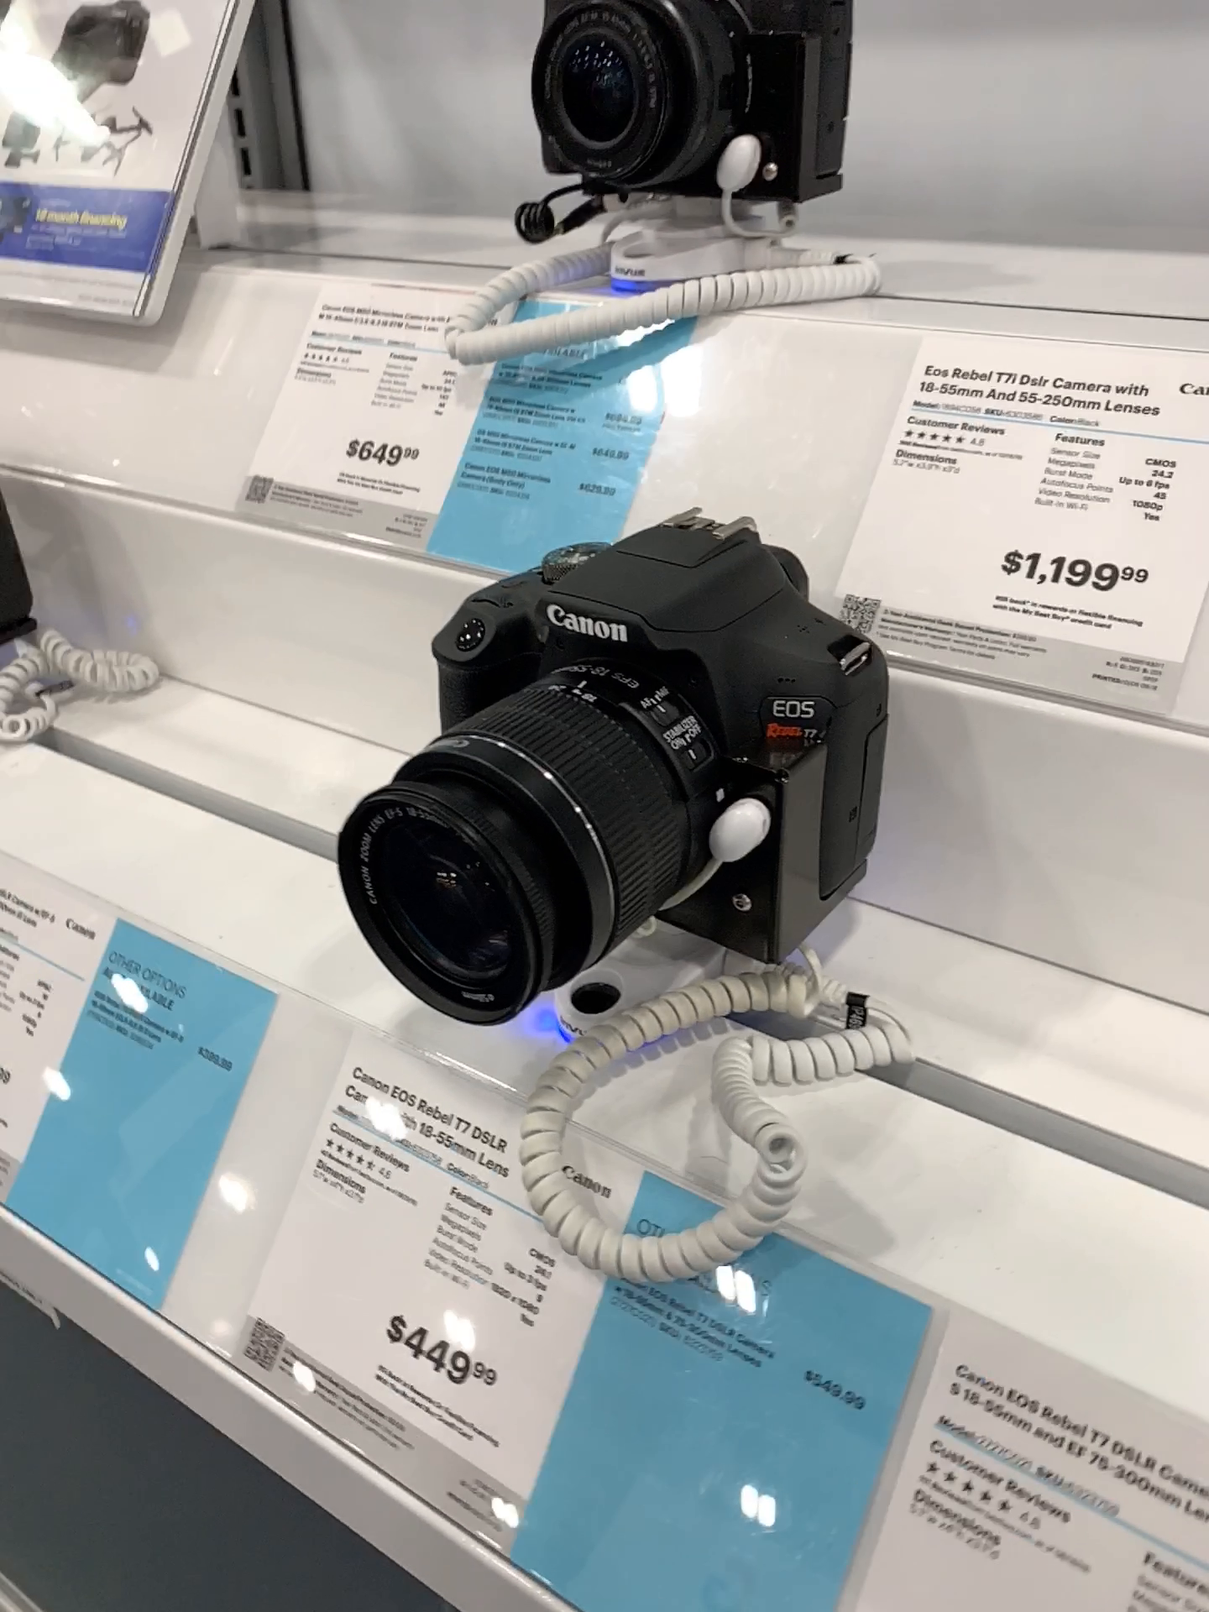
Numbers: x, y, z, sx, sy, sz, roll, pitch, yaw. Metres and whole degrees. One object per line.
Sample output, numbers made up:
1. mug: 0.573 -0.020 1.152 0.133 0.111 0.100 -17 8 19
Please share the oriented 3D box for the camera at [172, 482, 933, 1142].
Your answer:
1. camera: -0.004 -0.015 0.334 0.130 0.090 0.151 16 34 26
